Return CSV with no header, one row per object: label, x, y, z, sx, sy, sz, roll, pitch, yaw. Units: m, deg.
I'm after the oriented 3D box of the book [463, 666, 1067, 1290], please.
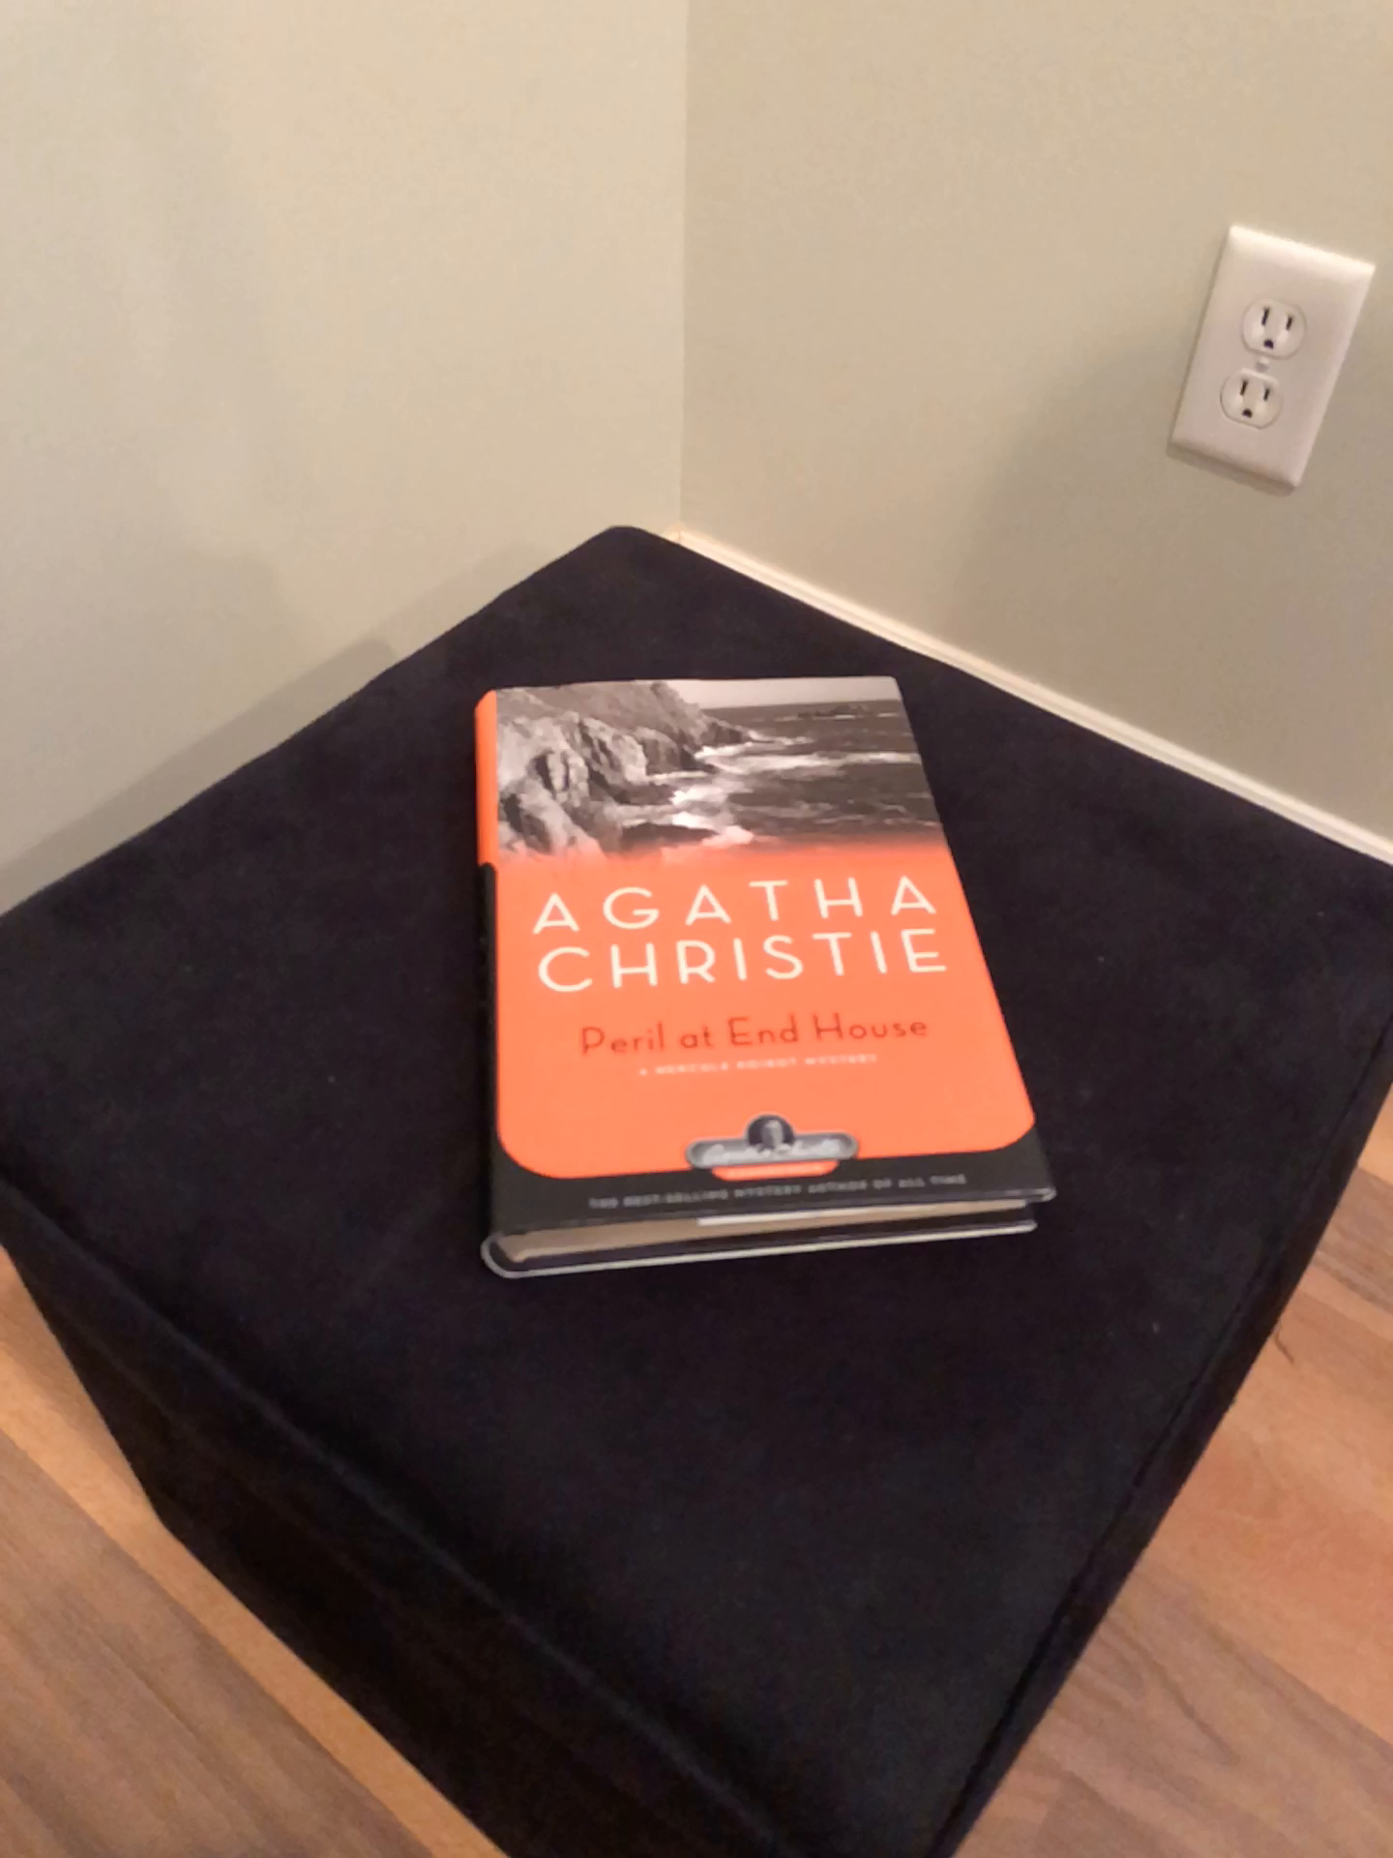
book,0.007,0.001,0.452,0.146,0.030,0.207,-4,47,-6
